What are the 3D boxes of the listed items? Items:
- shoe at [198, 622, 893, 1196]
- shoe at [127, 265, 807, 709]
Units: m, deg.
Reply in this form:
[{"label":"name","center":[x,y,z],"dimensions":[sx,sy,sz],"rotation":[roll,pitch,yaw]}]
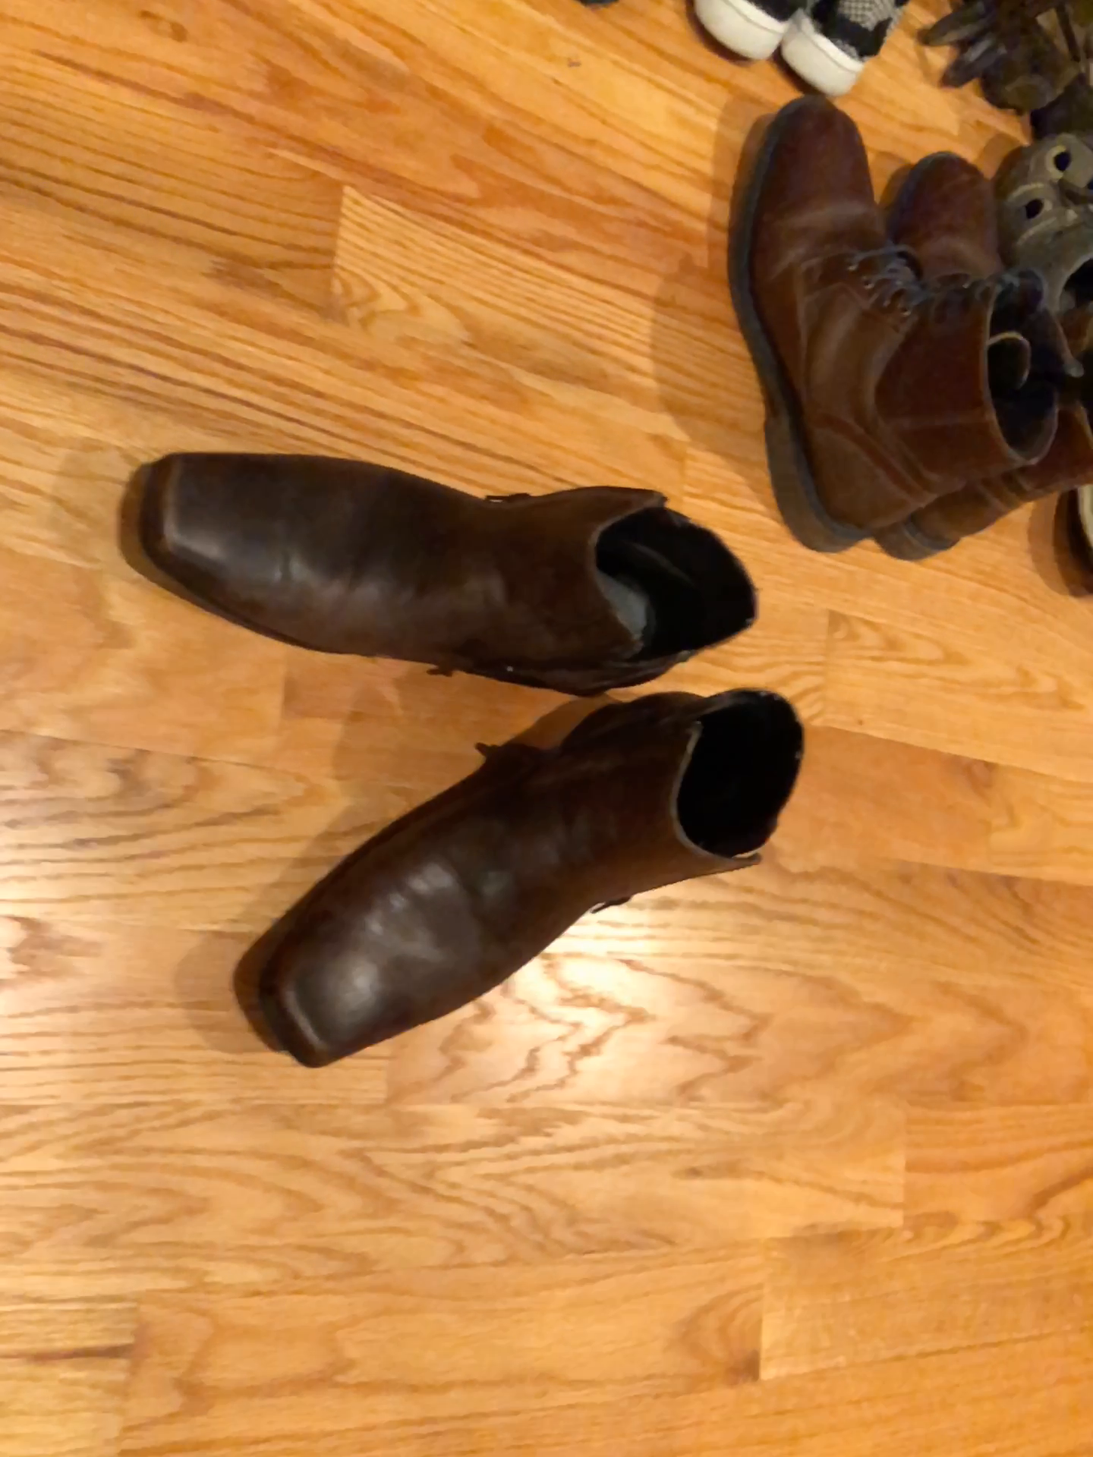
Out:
[{"label":"shoe","center":[0.006,0.072,0.601],"dimensions":[0.301,0.153,0.109],"rotation":[-33,102,-31]},{"label":"shoe","center":[-0.032,-0.096,0.590],"dimensions":[0.291,0.143,0.109],"rotation":[11,79,-31]}]
